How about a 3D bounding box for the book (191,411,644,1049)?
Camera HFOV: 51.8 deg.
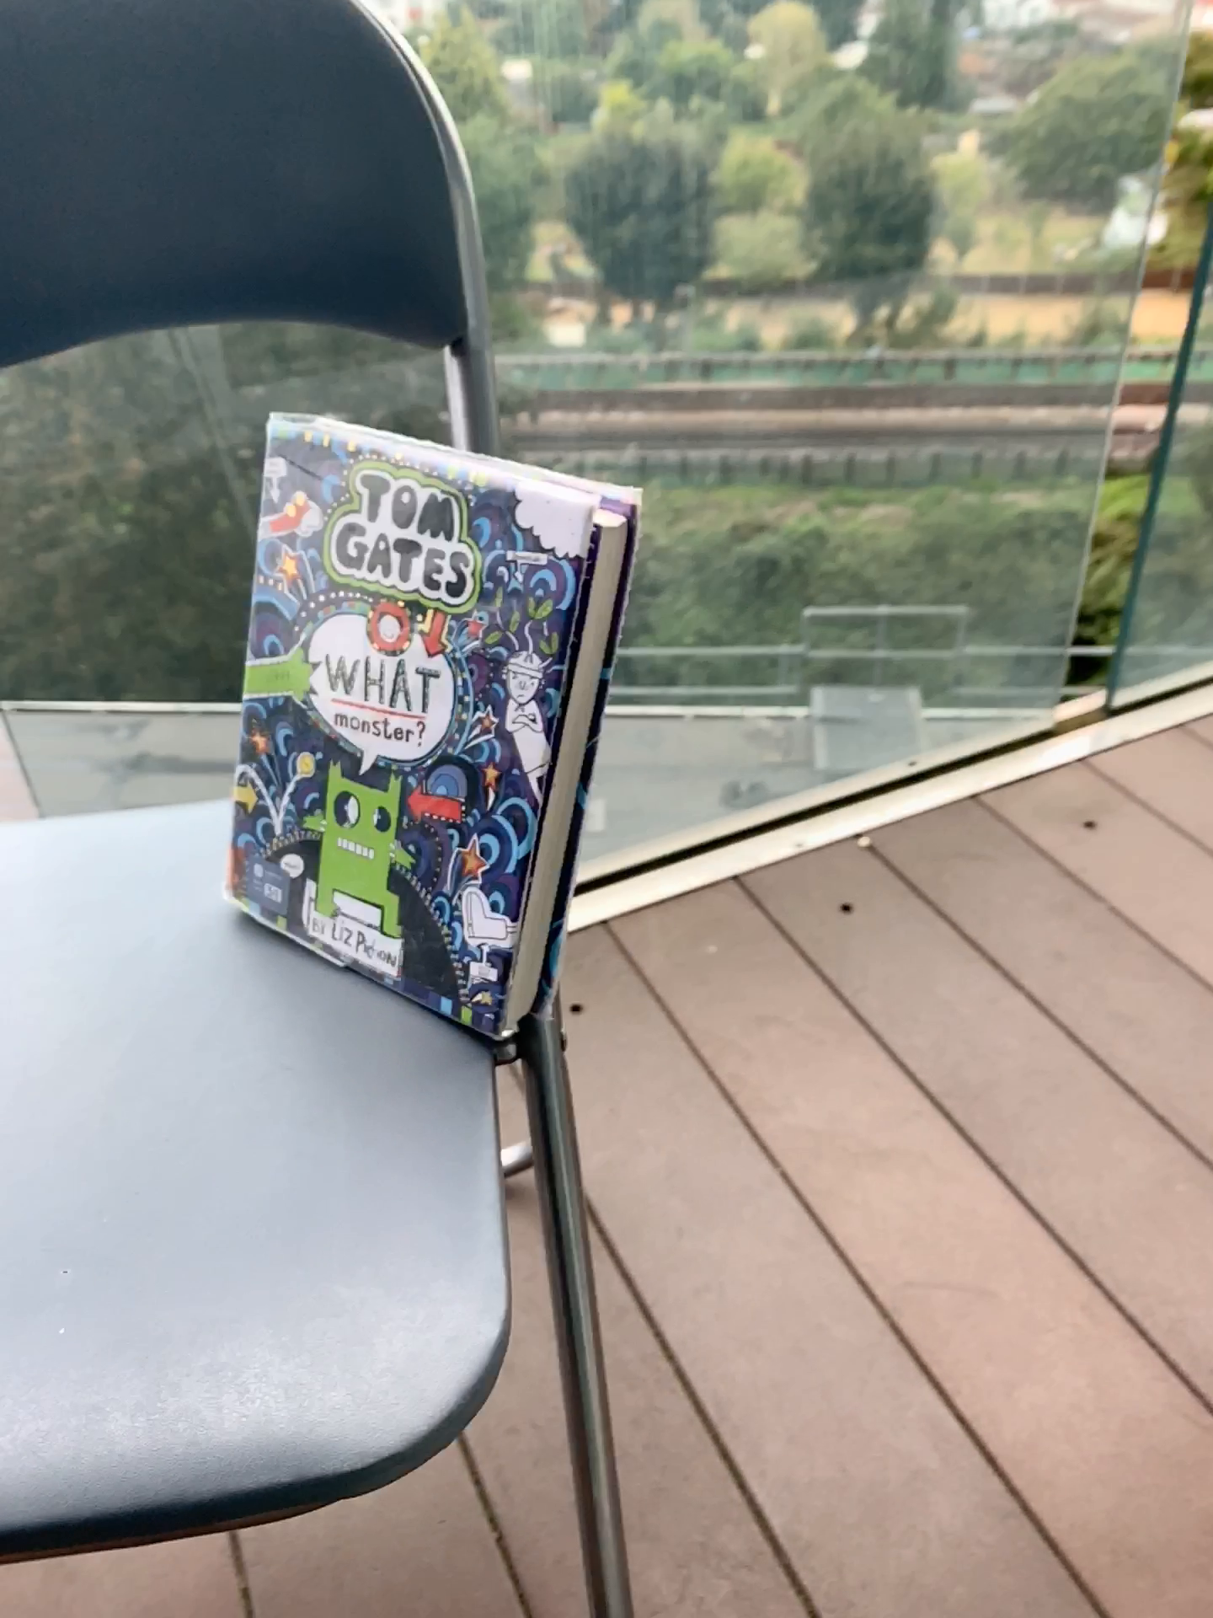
[{"bbox_3d":[-0.082,-0.036,0.480,0.160,0.199,0.050,20,21,29],"label":"book"}]
